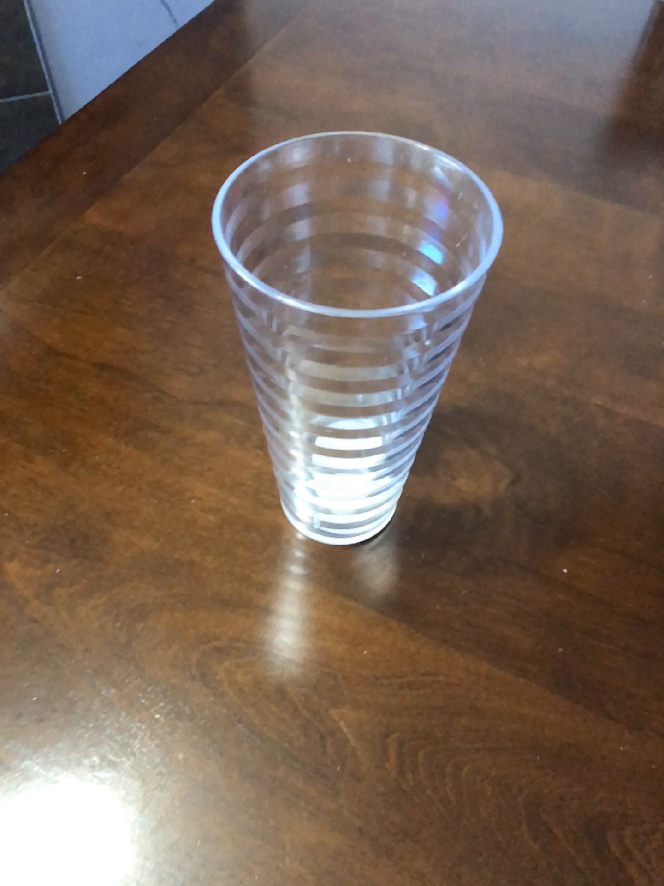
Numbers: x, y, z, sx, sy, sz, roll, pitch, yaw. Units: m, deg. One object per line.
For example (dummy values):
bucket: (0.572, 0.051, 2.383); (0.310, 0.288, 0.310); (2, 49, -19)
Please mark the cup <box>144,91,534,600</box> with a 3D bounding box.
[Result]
cup: (0.004, -0.031, 0.323); (0.100, 0.180, 0.100); (1, 54, -1)
